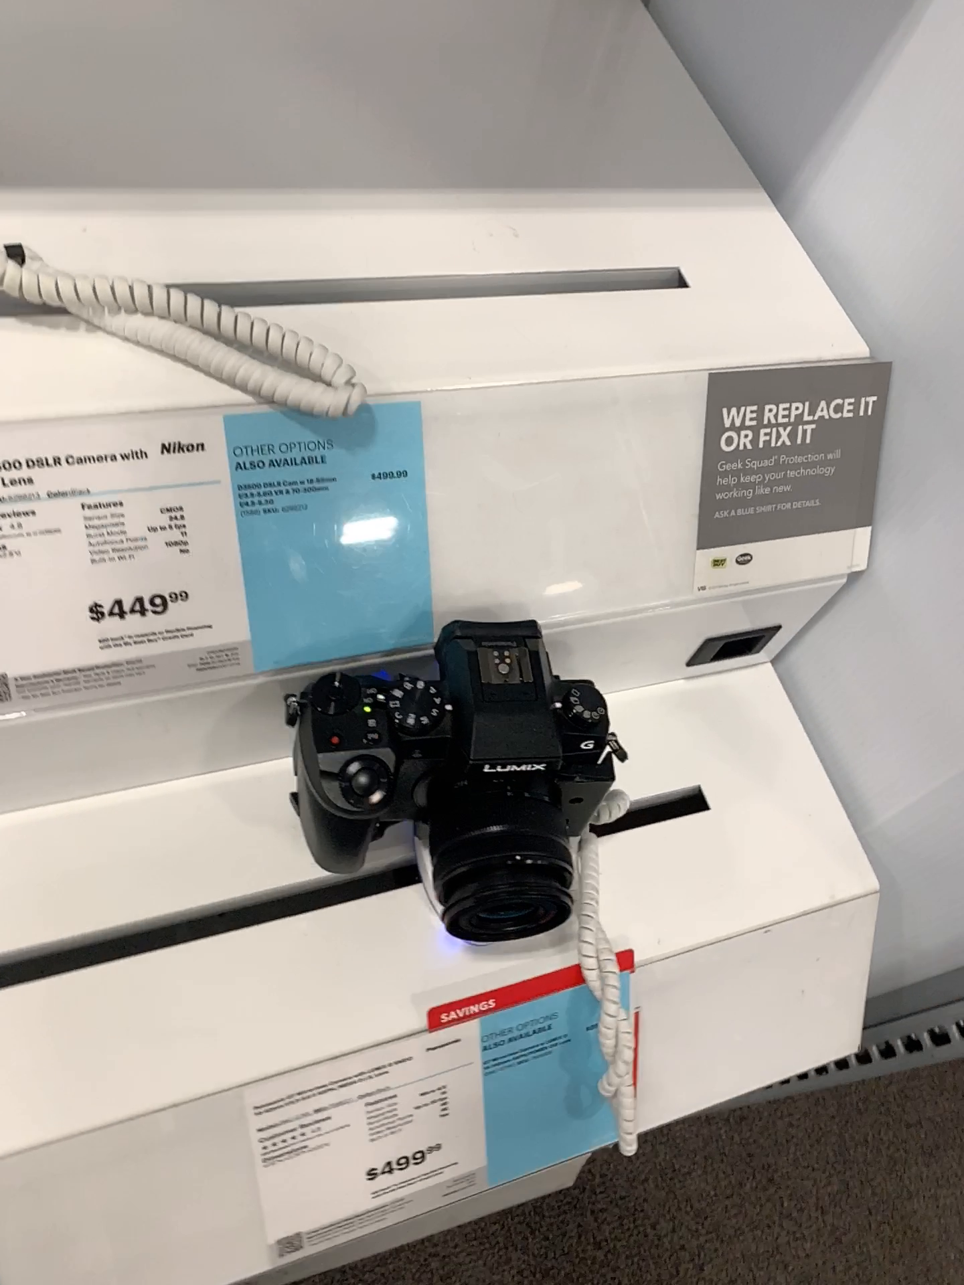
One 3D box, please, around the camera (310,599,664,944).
[{"bbox_3d":[-0.006,0.052,0.409,0.118,0.080,0.114,0,60,-14],"label":"camera"}]
